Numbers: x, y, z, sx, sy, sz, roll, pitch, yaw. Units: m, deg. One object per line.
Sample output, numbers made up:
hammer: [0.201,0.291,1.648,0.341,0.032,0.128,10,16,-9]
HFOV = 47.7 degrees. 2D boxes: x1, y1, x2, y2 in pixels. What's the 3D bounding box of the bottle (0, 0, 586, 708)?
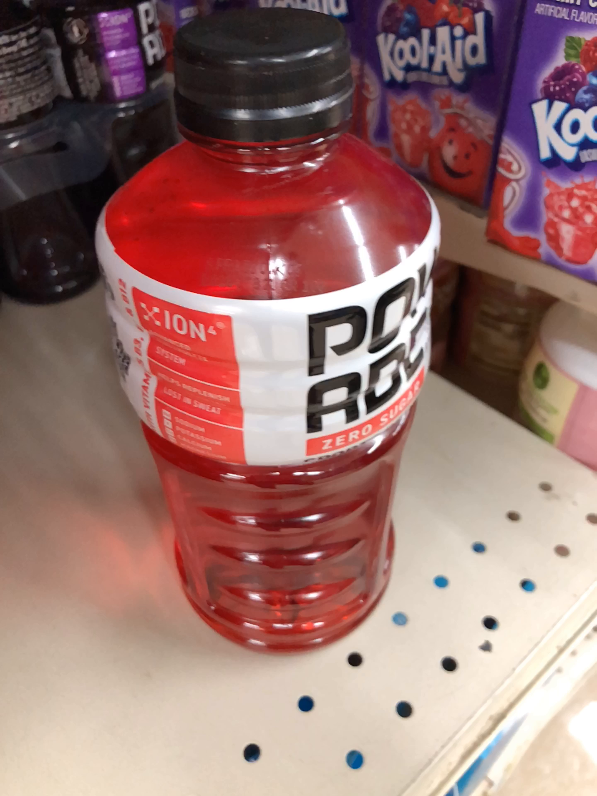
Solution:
bottle: [-0.003,-0.012,0.209,0.095,0.190,0.095,0,43,0]
